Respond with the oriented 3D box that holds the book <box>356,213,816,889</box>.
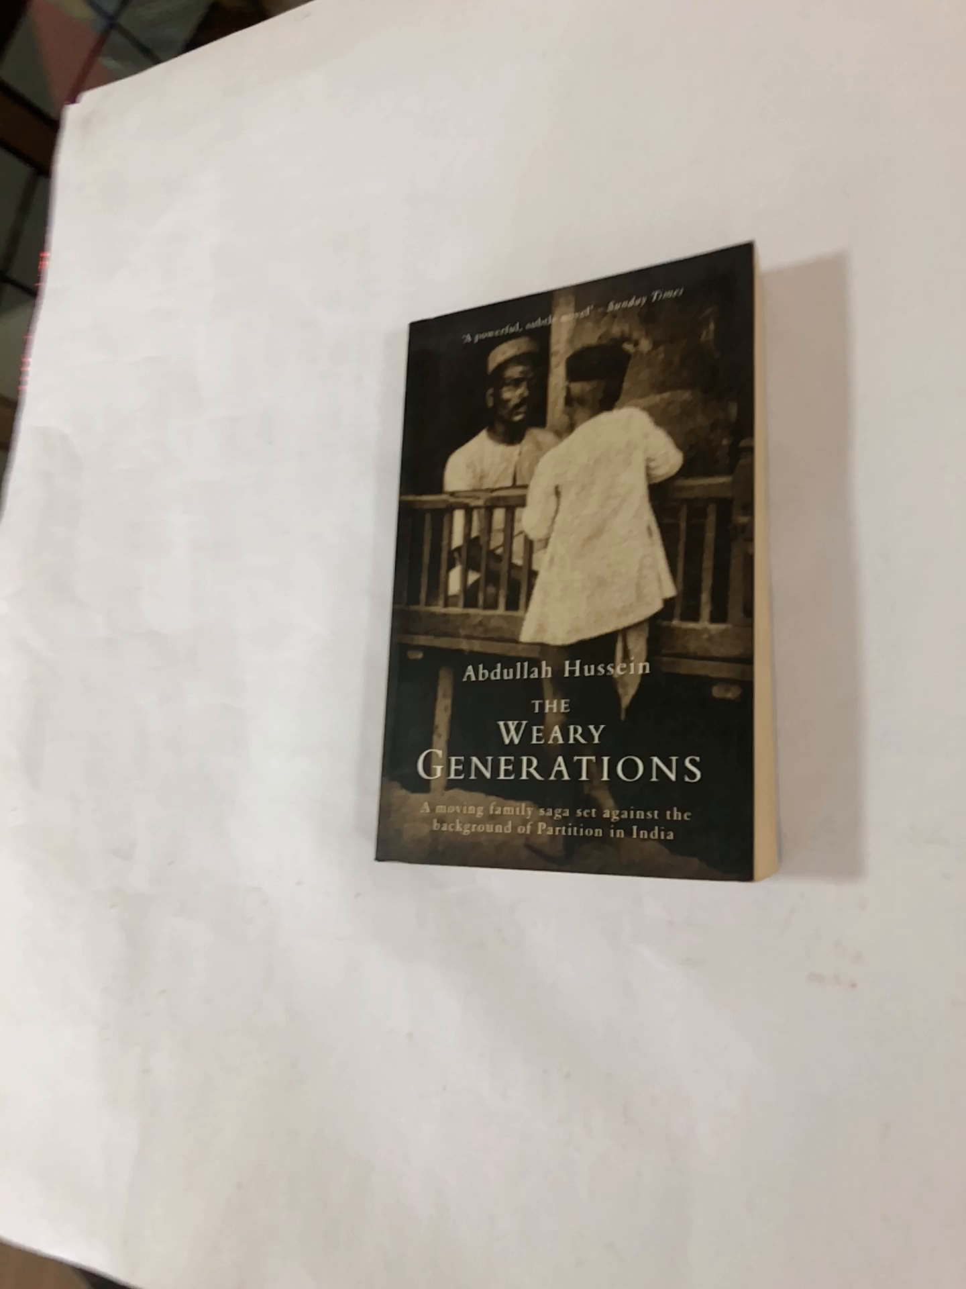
[{"bbox_3d":[0.032,-0.026,0.351,0.141,0.030,0.200,-4,75,29],"label":"book"}]
